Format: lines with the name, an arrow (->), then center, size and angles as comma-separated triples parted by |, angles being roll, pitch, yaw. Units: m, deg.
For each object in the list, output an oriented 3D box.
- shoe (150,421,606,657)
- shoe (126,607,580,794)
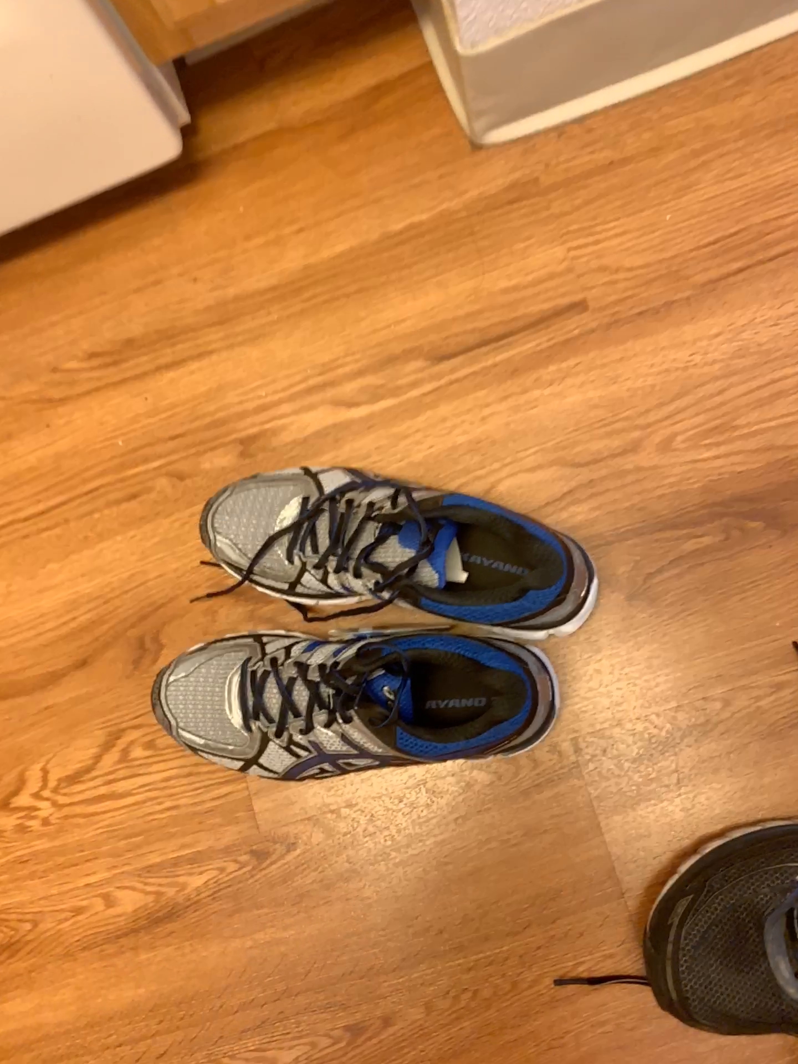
shoe -> -0.007, 0.008, 0.581 | 0.280, 0.130, 0.110 | 7, 81, 13
shoe -> -0.025, 0.121, 0.583 | 0.290, 0.130, 0.110 | -4, 78, 11
